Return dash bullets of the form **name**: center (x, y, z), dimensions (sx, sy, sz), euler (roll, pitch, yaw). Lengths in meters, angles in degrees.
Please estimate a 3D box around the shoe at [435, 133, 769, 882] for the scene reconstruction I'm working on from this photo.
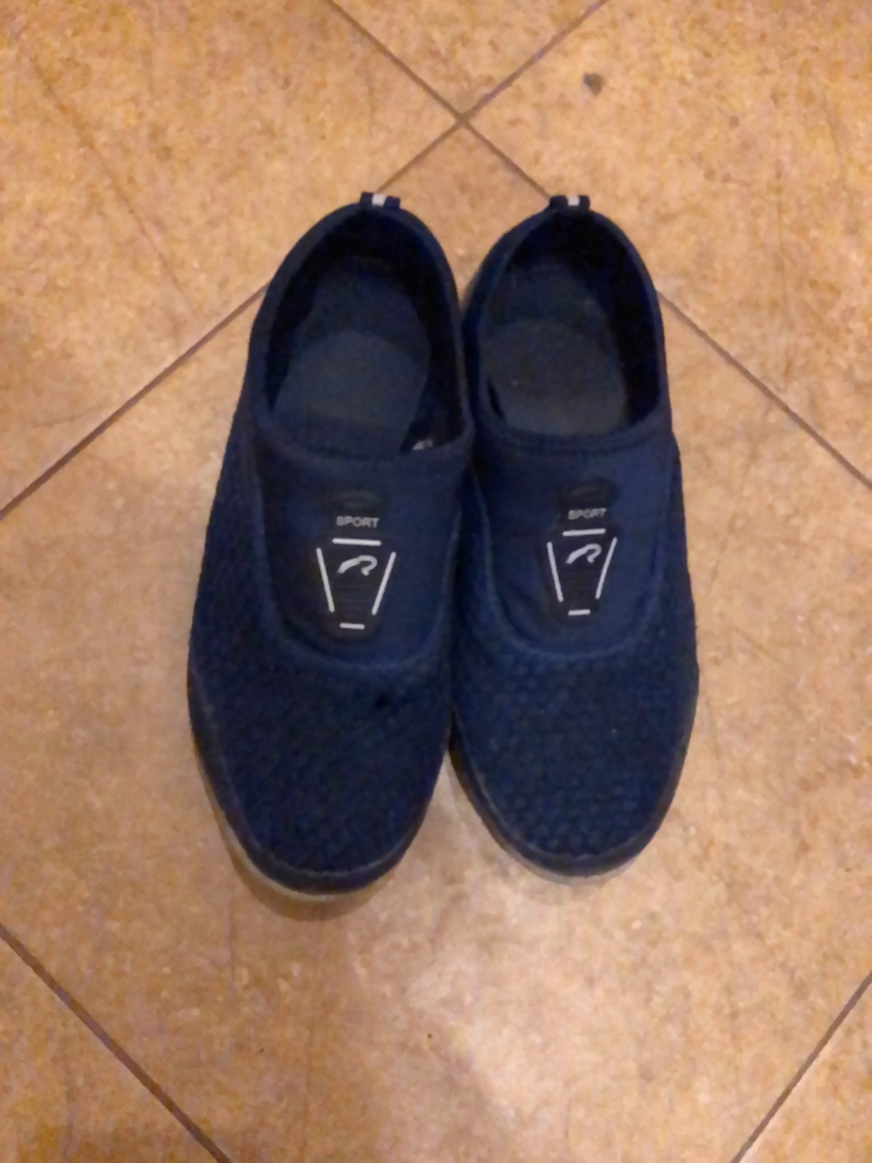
- **shoe**: center (0.058, -0.031, 0.401), dimensions (0.110, 0.070, 0.290), euler (1, 77, -6)

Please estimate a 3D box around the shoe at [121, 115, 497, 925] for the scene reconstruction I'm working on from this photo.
- **shoe**: center (-0.042, -0.025, 0.378), dimensions (0.110, 0.070, 0.290), euler (4, 77, -6)
